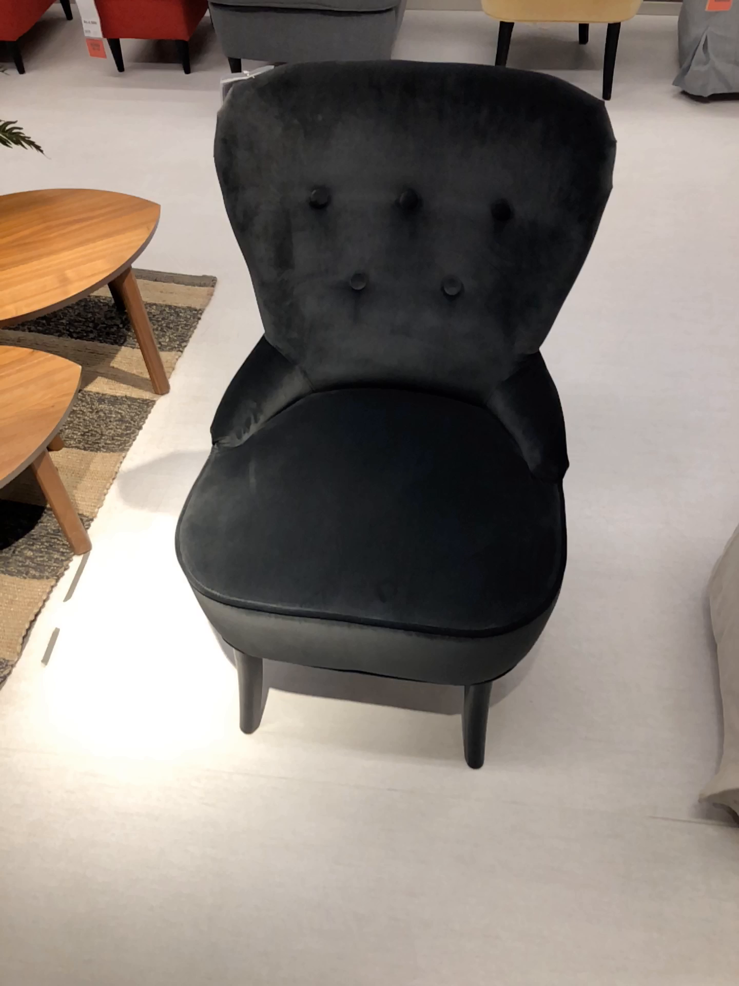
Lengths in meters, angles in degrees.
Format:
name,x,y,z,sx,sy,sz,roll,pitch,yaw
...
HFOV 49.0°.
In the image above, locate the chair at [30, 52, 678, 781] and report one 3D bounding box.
name,x,y,z,sx,sy,sz,roll,pitch,yaw
chair,0.037,-0.115,1.290,0.600,0.775,0.795,5,51,6
